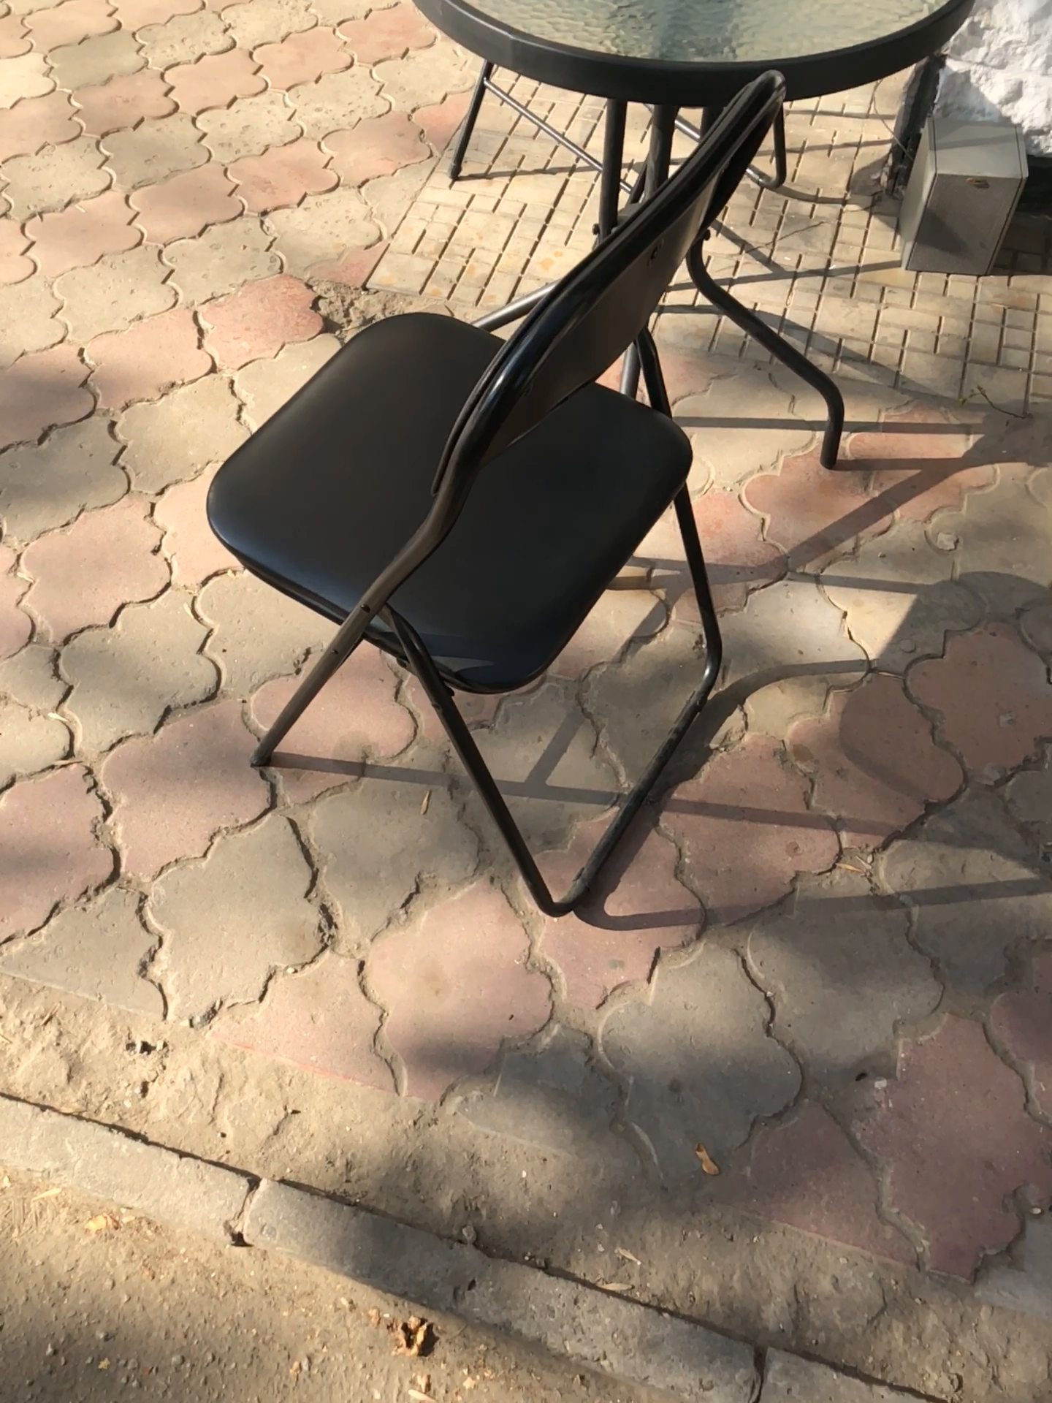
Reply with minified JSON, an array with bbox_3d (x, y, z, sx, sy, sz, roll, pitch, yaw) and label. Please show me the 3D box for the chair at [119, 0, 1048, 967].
[{"bbox_3d":[0.058,-0.258,1.298,0.570,0.837,0.581,27,55,18],"label":"chair"}]
